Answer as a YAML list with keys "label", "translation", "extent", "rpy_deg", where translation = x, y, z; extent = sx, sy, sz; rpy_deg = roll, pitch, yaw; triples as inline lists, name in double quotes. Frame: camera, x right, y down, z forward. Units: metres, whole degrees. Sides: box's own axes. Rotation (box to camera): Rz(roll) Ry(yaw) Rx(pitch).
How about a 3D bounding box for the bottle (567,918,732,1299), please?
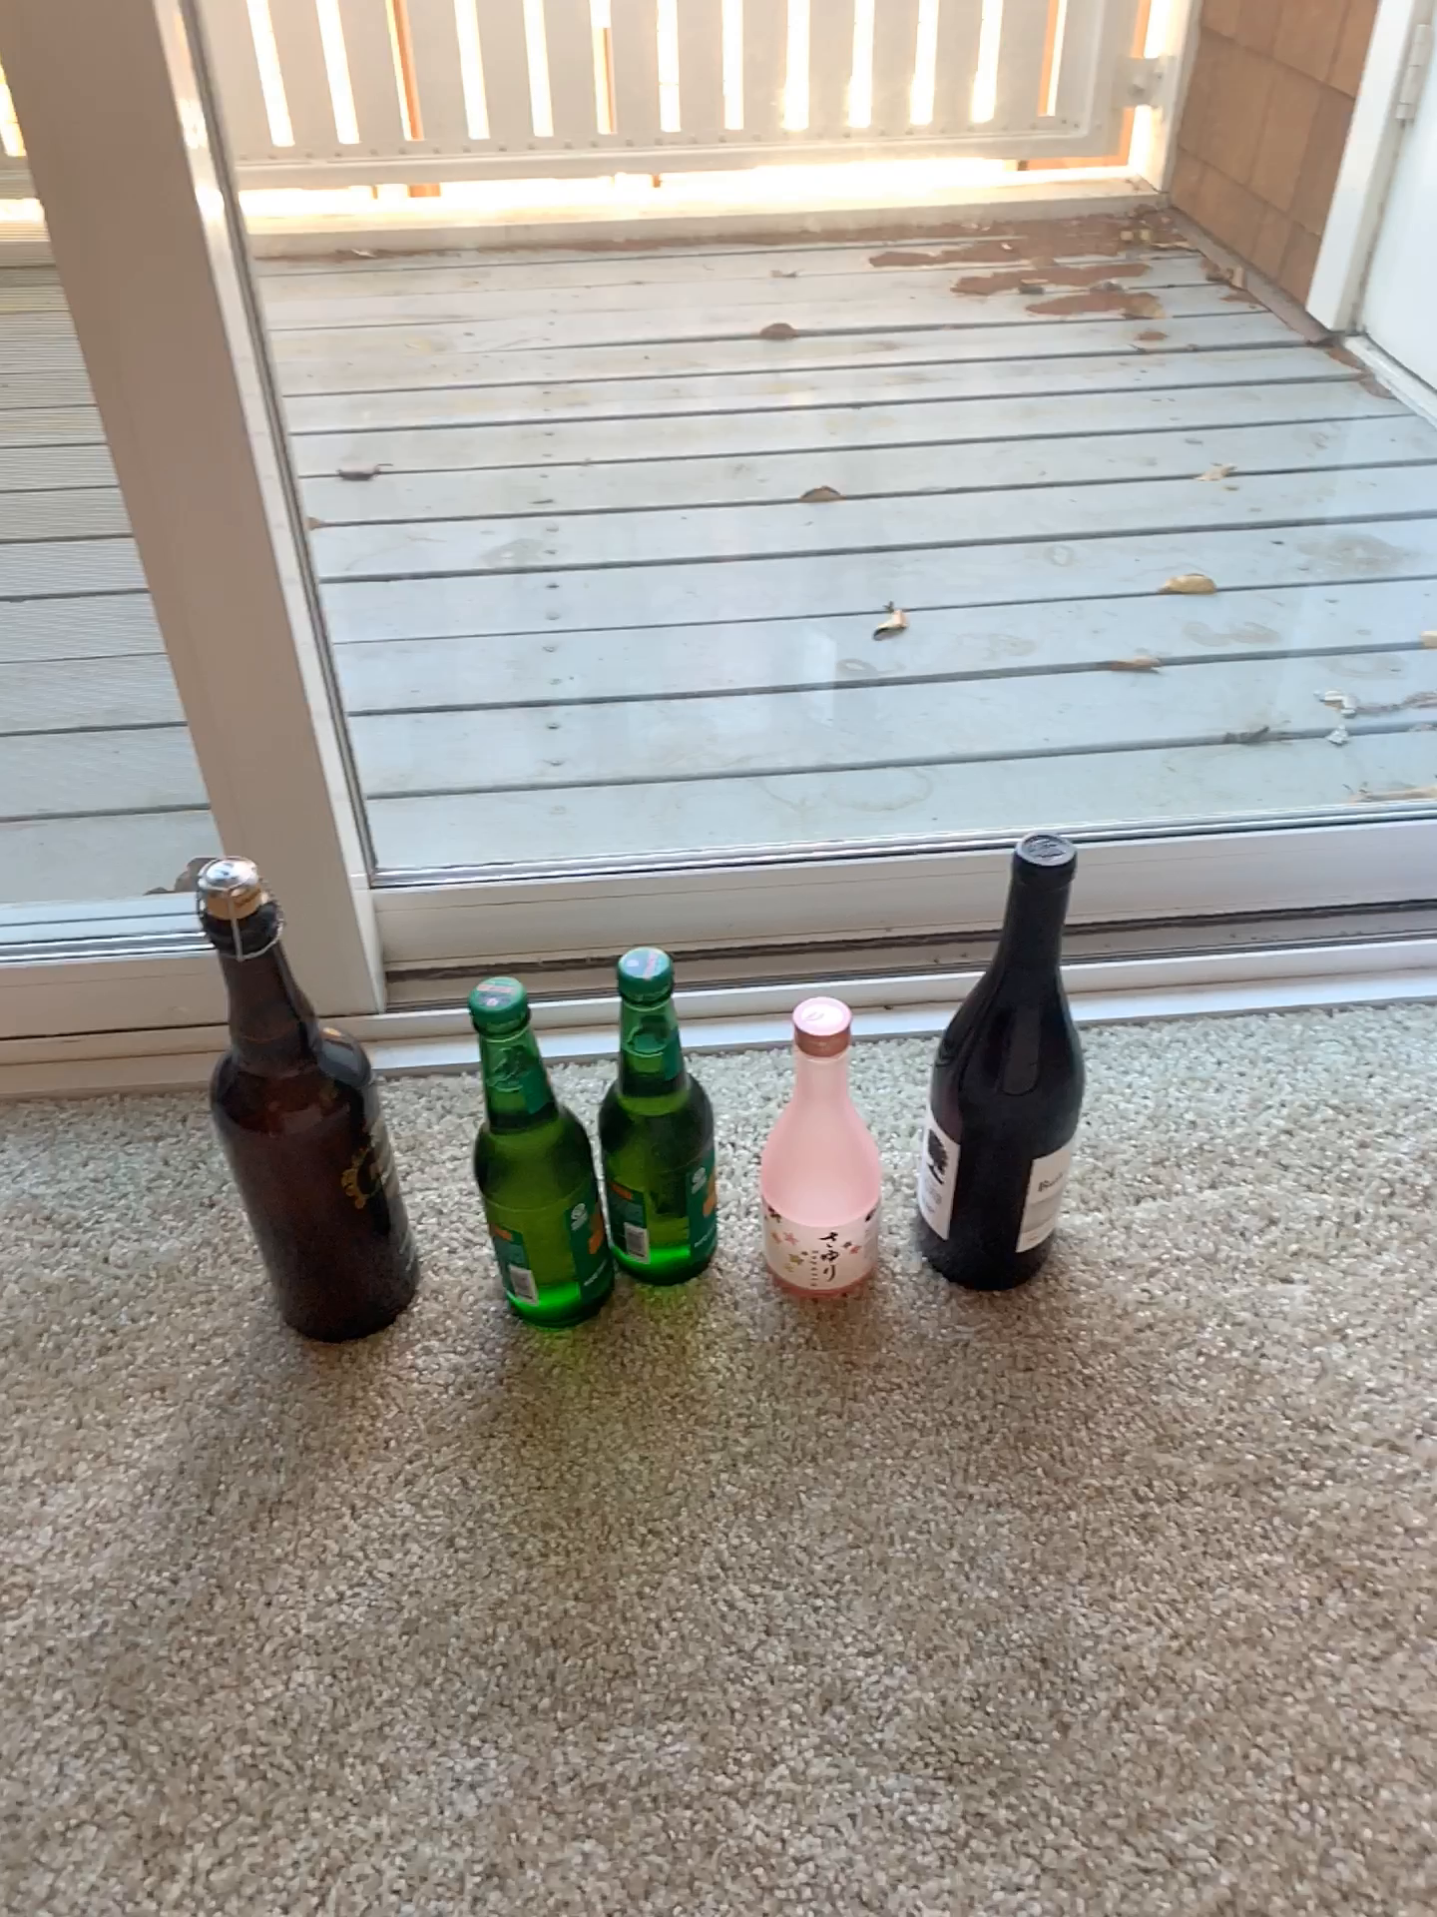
- label: "bottle"
  translation: [-0.034, 0.081, 0.763]
  extent: [0.070, 0.189, 0.080]
  rpy_deg: [-6, 41, -6]

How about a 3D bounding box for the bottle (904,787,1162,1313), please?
- label: "bottle"
  translation: [0.156, 0.052, 0.750]
  extent: [0.090, 0.249, 0.111]
  rpy_deg: [9, 42, 12]

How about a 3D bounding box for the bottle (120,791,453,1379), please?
- label: "bottle"
  translation: [-0.203, 0.070, 0.718]
  extent: [0.090, 0.278, 0.101]
  rpy_deg: [-14, 42, -15]

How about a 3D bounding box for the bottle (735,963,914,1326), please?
- label: "bottle"
  translation: [0.053, 0.097, 0.750]
  extent: [0.070, 0.169, 0.080]
  rpy_deg: [9, 42, 12]

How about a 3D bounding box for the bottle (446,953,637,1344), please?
- label: "bottle"
  translation: [-0.087, 0.100, 0.744]
  extent: [0.070, 0.189, 0.080]
  rpy_deg: [-8, 41, -8]
